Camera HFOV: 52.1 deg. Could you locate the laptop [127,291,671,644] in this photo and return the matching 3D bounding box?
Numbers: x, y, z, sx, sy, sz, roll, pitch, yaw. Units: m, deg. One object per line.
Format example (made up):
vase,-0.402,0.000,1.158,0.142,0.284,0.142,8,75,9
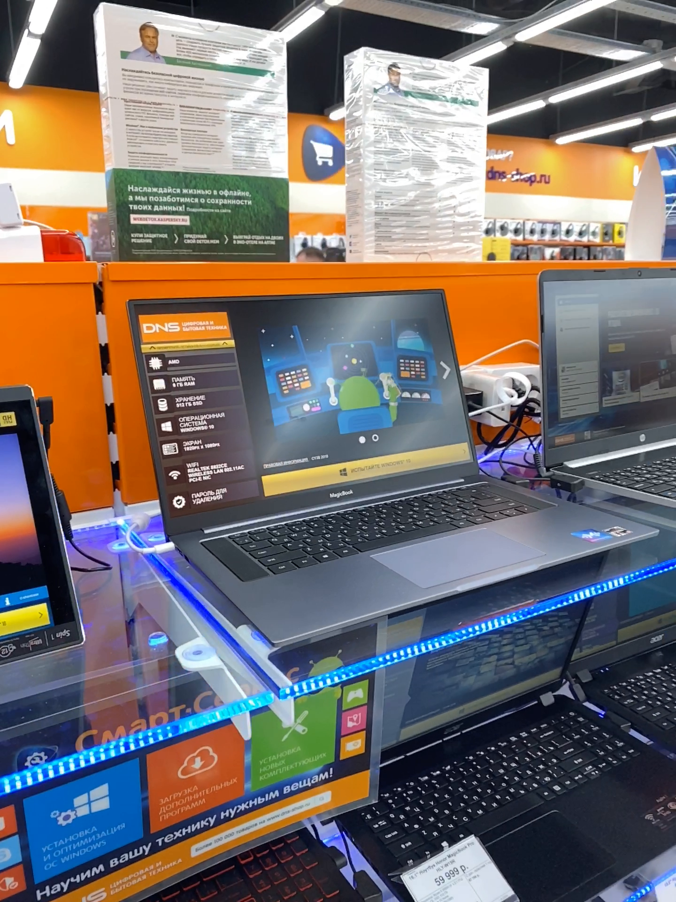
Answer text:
laptop,0.038,-0.036,0.631,0.368,0.207,0.315,-8,15,-28
